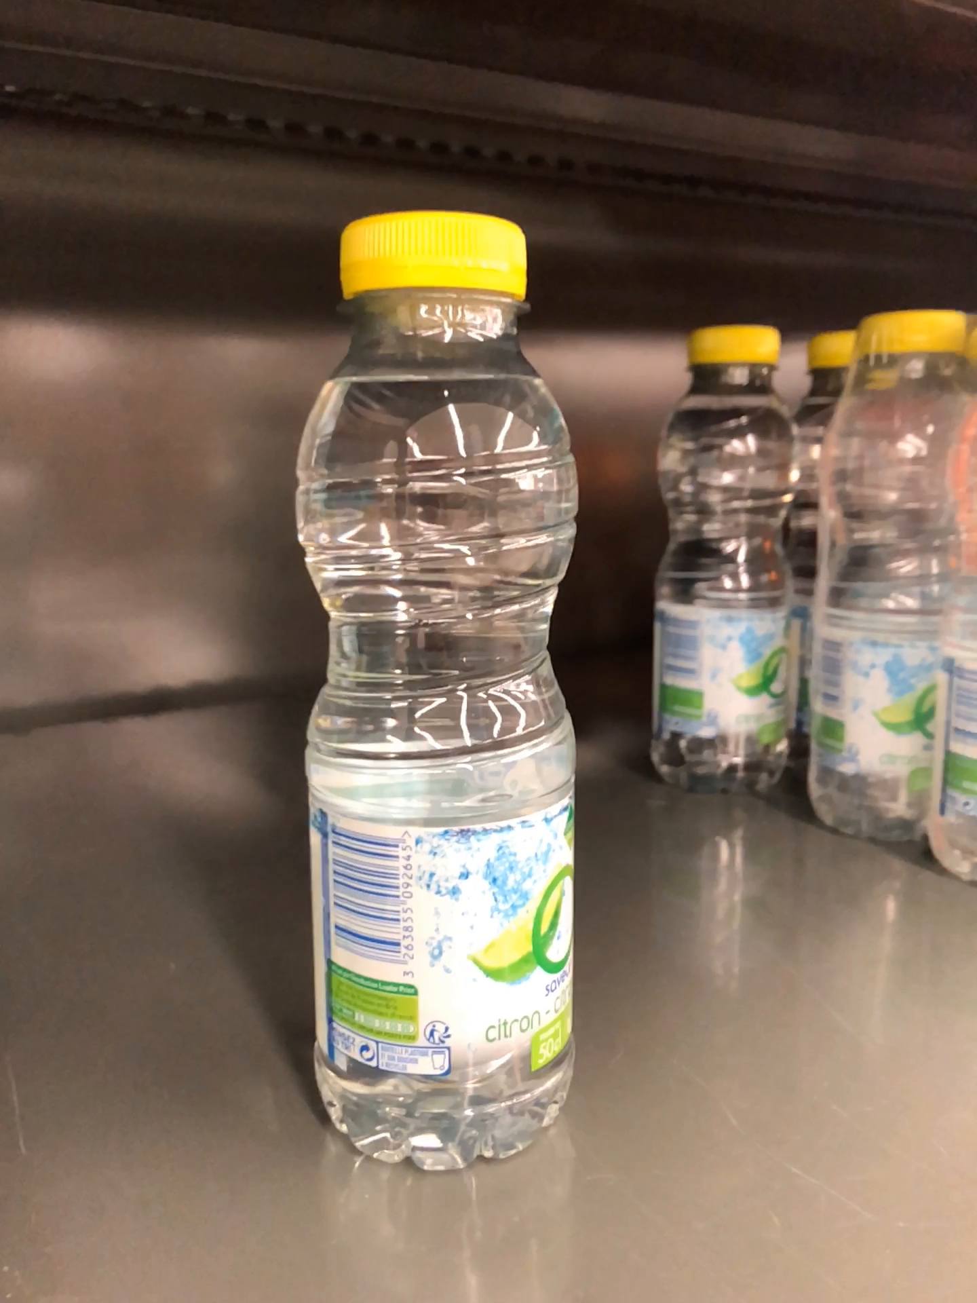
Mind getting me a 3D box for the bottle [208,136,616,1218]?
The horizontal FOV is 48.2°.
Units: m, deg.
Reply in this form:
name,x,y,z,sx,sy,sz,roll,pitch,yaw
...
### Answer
name,x,y,z,sx,sy,sz,roll,pitch,yaw
bottle,-0.011,0.006,0.252,0.060,0.209,0.070,4,10,27
